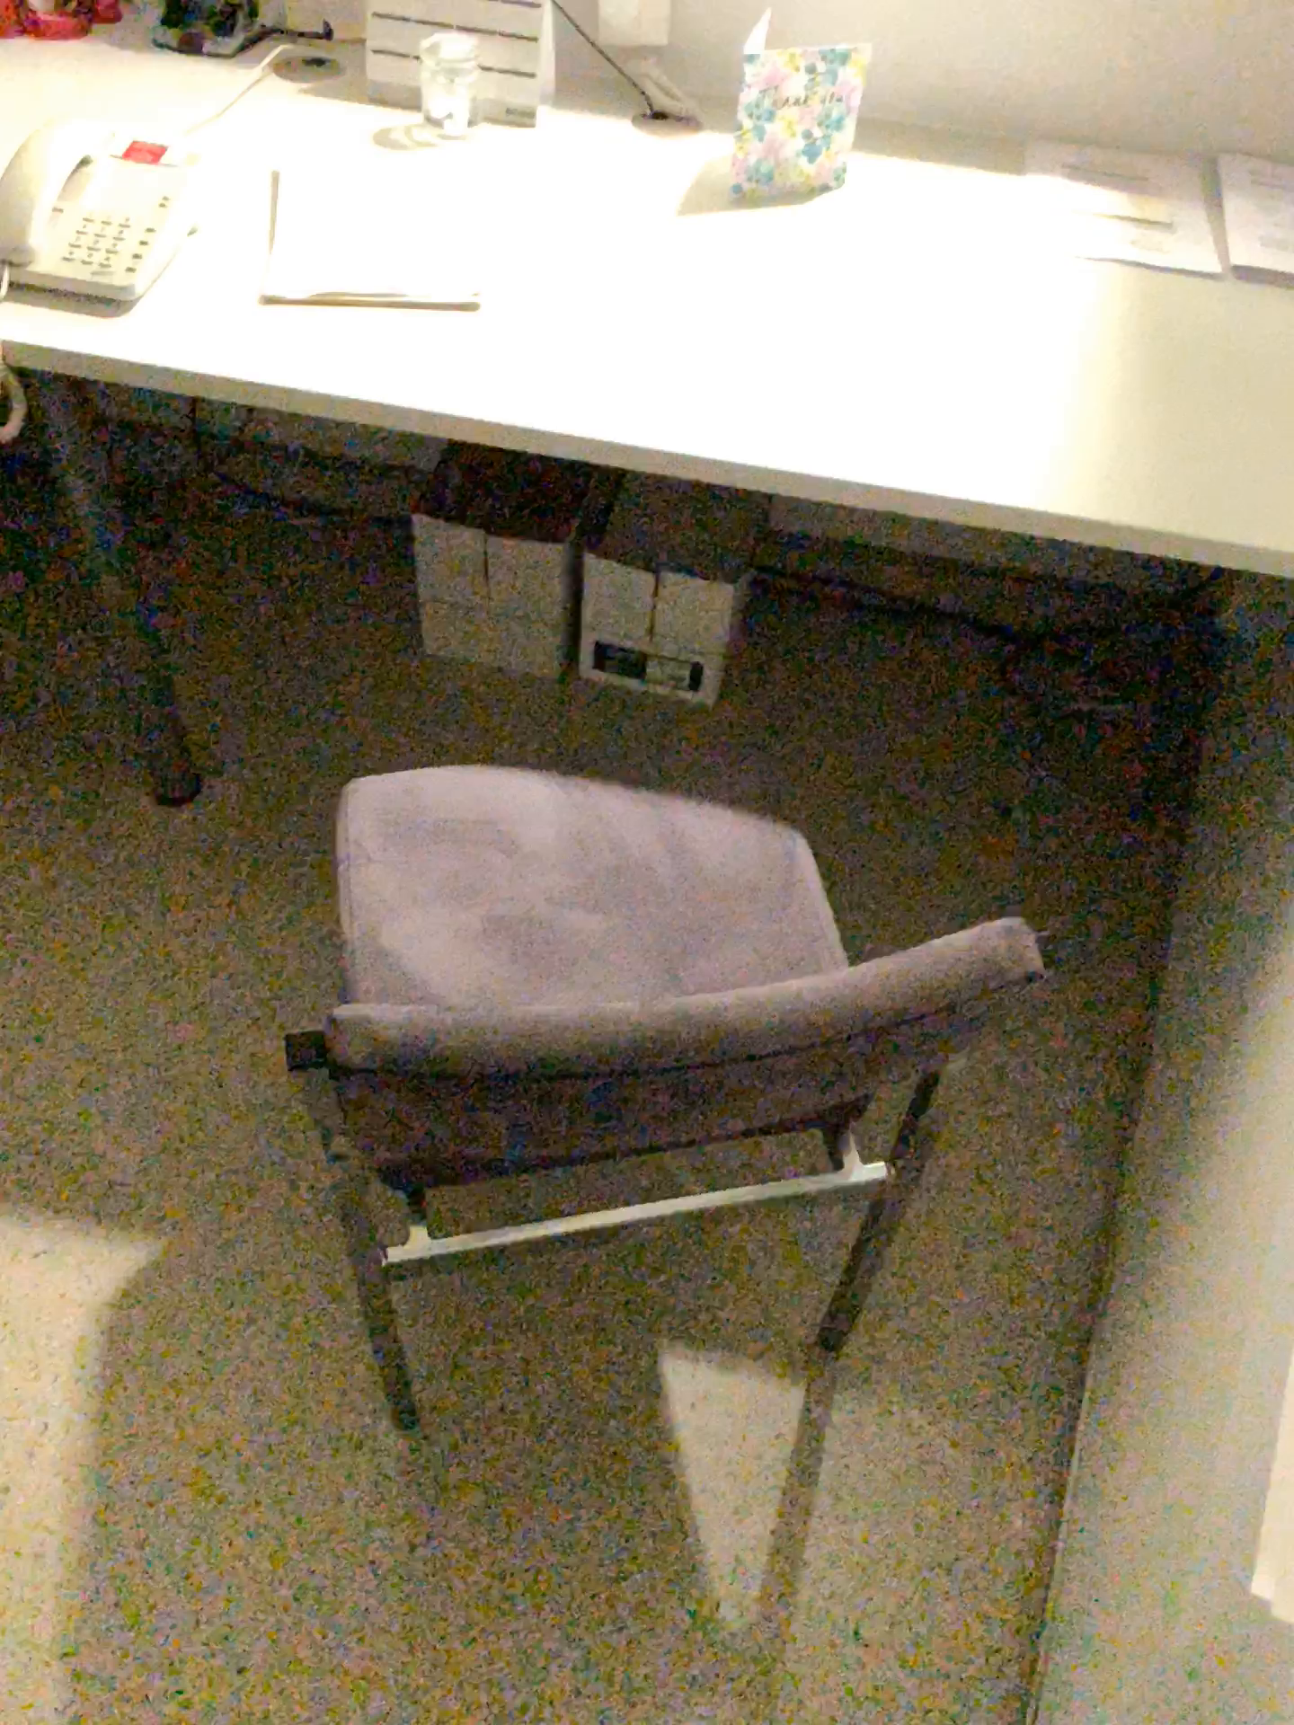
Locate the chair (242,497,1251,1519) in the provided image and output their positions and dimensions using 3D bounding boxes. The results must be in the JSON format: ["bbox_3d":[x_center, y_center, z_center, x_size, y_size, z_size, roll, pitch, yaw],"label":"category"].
[{"bbox_3d":[0.002,0.136,1.152,0.570,0.664,0.554,-5,50,-9],"label":"chair"}]
